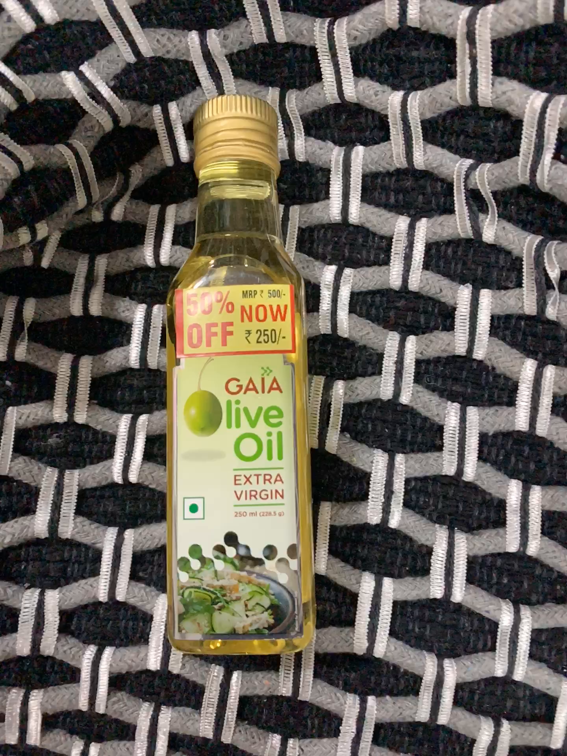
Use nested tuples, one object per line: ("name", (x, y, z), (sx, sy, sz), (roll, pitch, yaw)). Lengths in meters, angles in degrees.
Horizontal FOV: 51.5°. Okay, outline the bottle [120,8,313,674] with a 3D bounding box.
("bottle", (-0.018, -0.013, 0.192), (0.050, 0.050, 0.190), (-1, 83, 5))
